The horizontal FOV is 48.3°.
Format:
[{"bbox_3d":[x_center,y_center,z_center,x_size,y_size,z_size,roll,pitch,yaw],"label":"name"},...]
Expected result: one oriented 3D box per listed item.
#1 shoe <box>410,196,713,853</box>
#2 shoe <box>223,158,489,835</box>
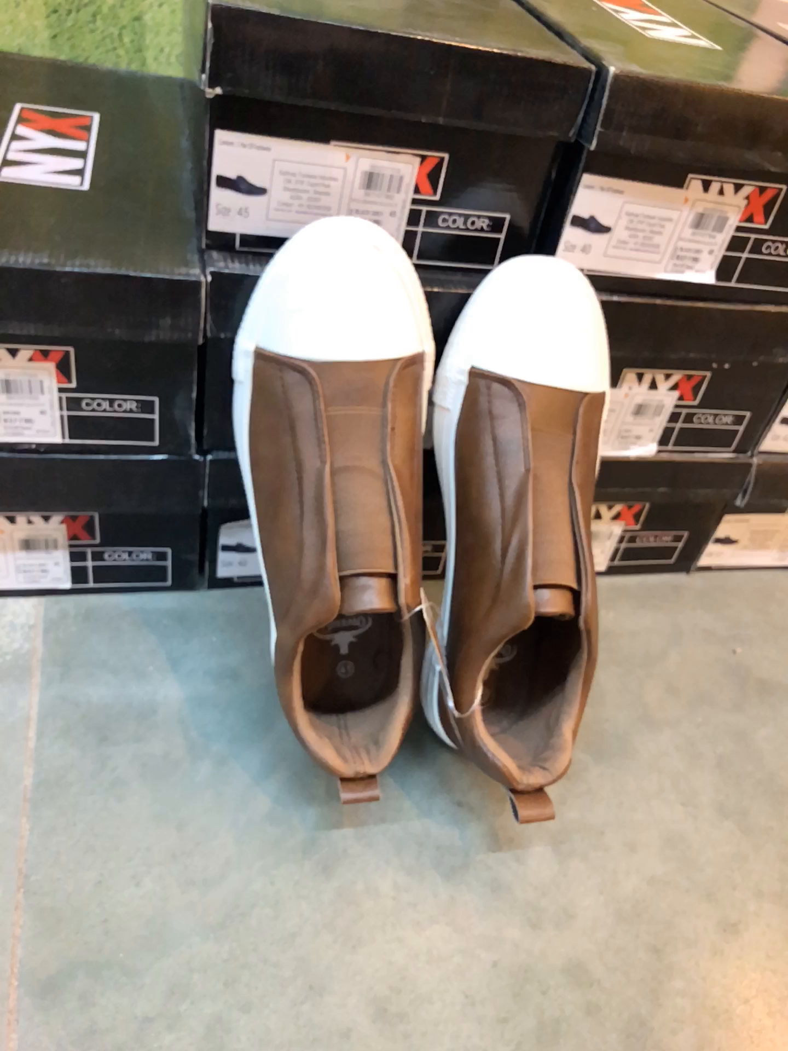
[{"bbox_3d":[0.073,-0.001,0.424,0.097,0.272,0.100,1,4,-15],"label":"shoe"},{"bbox_3d":[-0.023,-0.014,0.412,0.098,0.269,0.103,-2,6,-17],"label":"shoe"}]
